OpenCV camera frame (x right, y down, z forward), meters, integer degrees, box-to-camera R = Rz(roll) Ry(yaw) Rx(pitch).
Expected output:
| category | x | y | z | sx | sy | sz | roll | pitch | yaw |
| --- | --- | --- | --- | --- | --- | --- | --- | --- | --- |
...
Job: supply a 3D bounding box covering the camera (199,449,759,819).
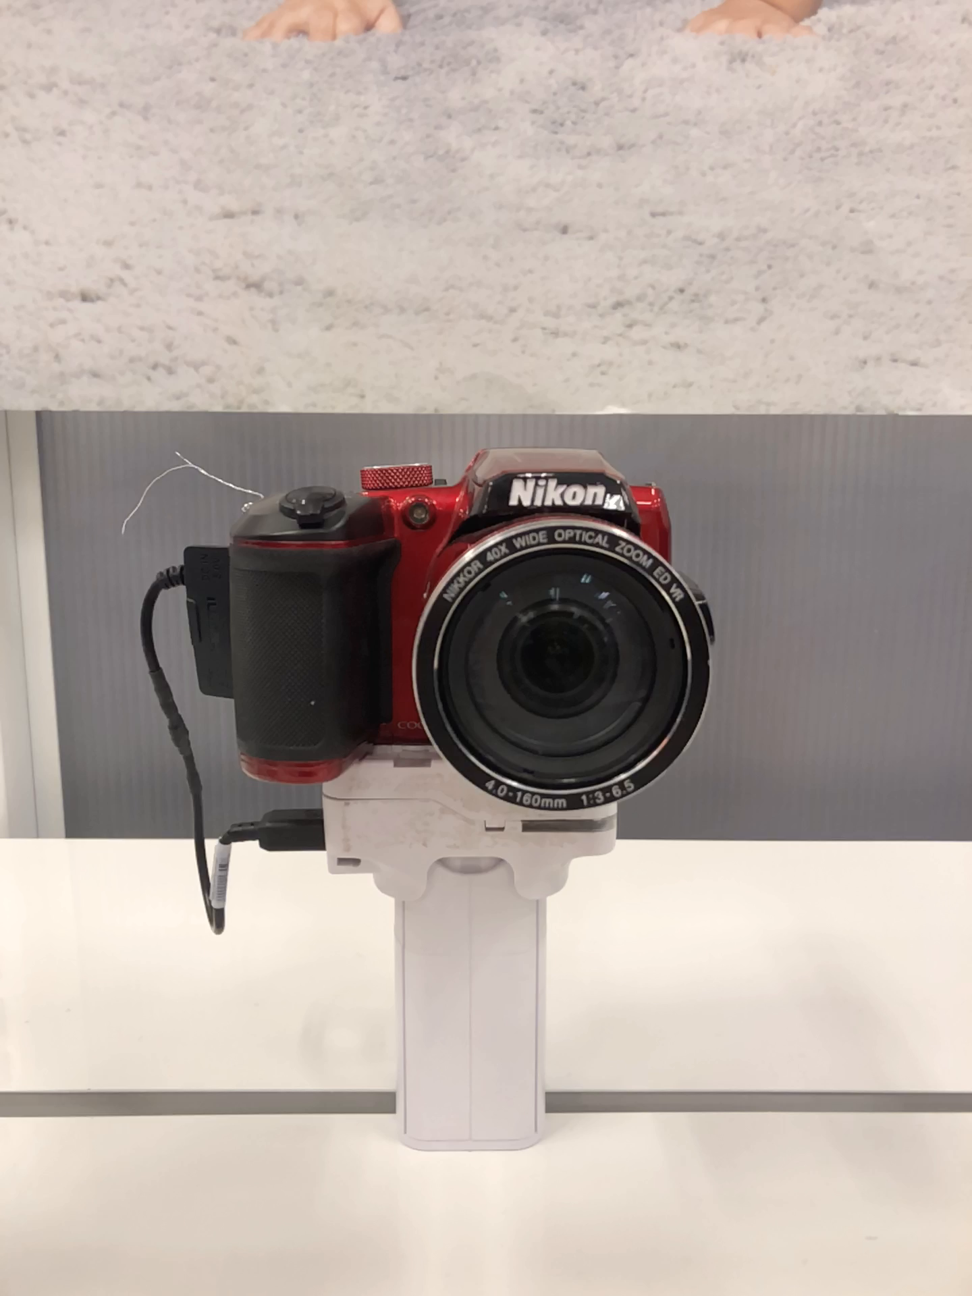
| category | x | y | z | sx | sy | sz | roll | pitch | yaw |
| --- | --- | --- | --- | --- | --- | --- | --- | --- | --- |
| camera | -0.002 | -0.009 | 0.259 | 0.110 | 0.074 | 0.084 | 1 | 11 | -1 |
